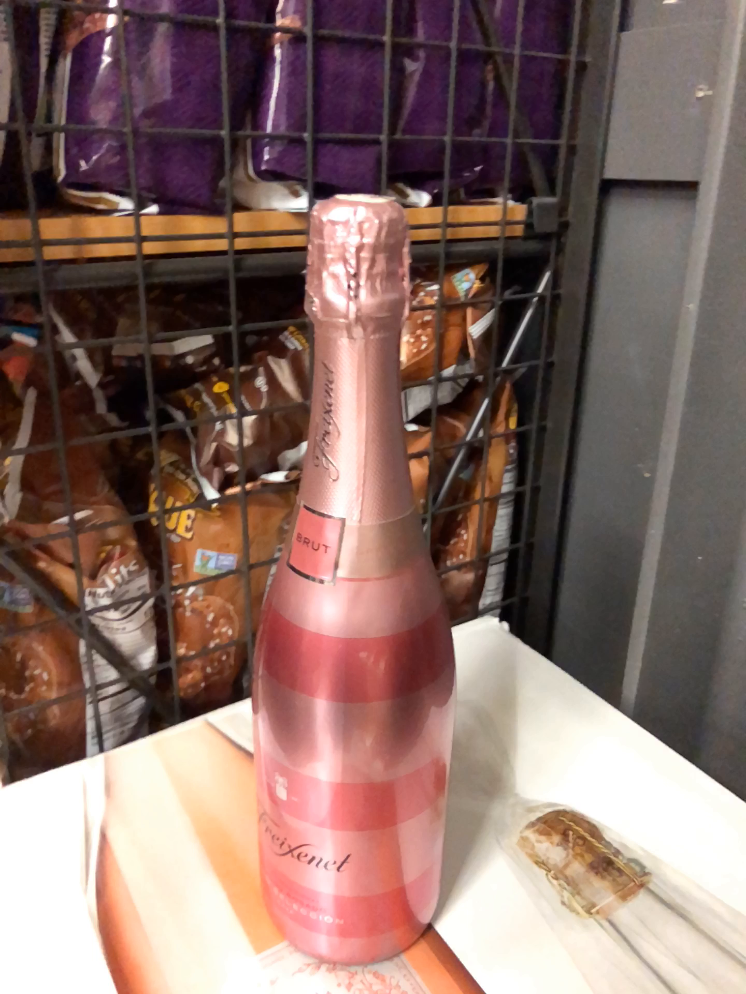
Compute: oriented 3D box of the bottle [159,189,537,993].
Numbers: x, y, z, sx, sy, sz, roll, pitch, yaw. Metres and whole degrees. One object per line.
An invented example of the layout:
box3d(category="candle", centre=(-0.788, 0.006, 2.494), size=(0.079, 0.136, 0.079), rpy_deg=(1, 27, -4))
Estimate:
box3d(category="bottle", centre=(-0.009, 0.043, 0.332), size=(0.090, 0.309, 0.090), rpy_deg=(1, 21, 0))
